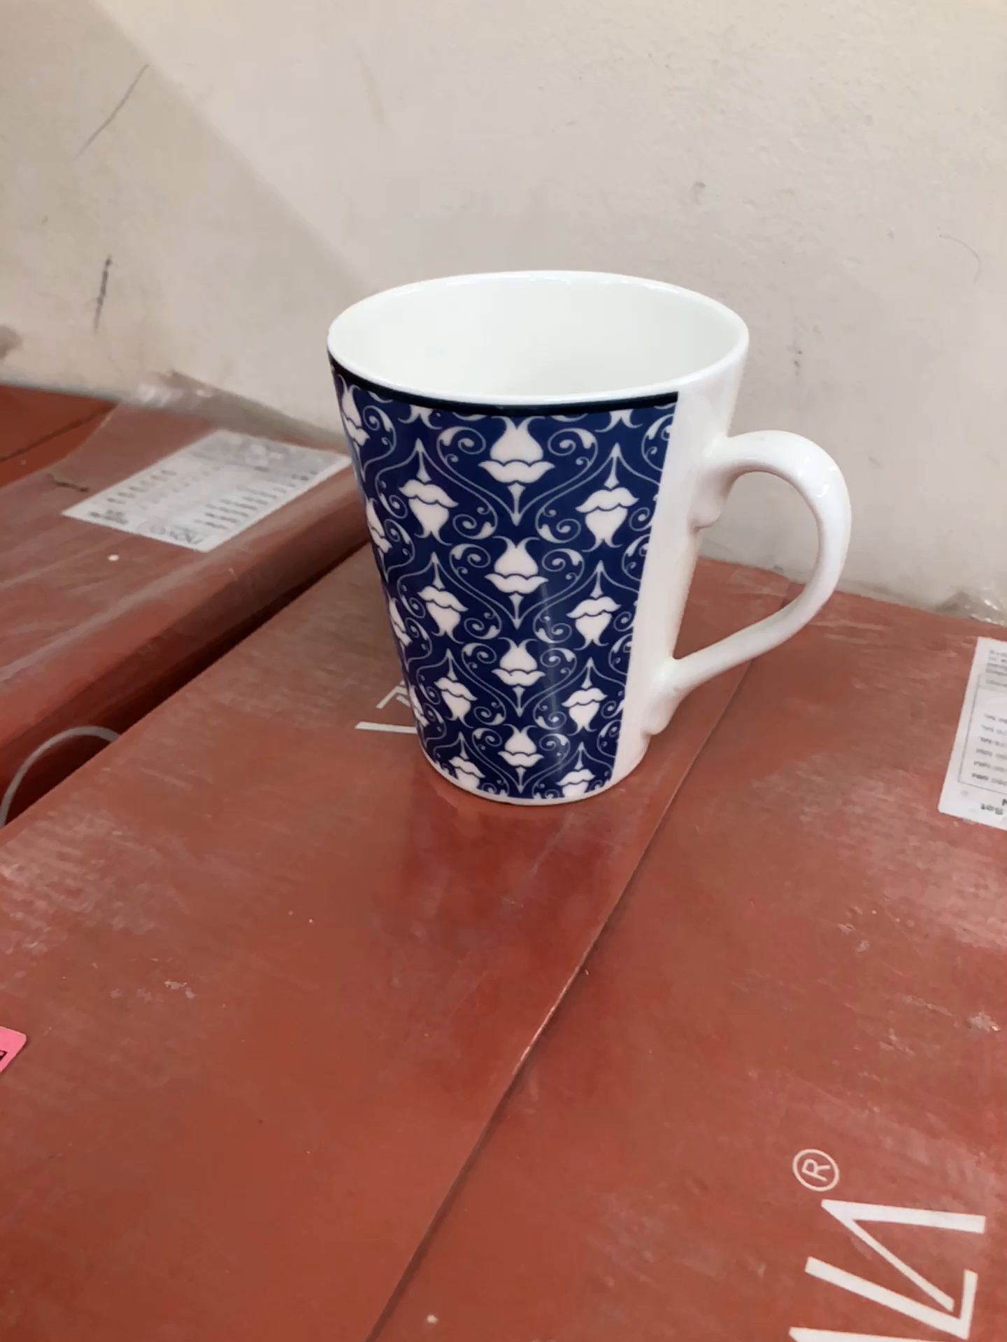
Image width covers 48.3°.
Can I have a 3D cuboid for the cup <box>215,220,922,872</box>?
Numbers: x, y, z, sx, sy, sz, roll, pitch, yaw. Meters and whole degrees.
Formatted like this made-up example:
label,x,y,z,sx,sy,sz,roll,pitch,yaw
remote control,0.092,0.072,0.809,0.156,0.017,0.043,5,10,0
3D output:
label,x,y,z,sx,sy,sz,roll,pitch,yaw
cup,0.018,-0.033,0.245,0.120,0.099,0.081,11,35,15
